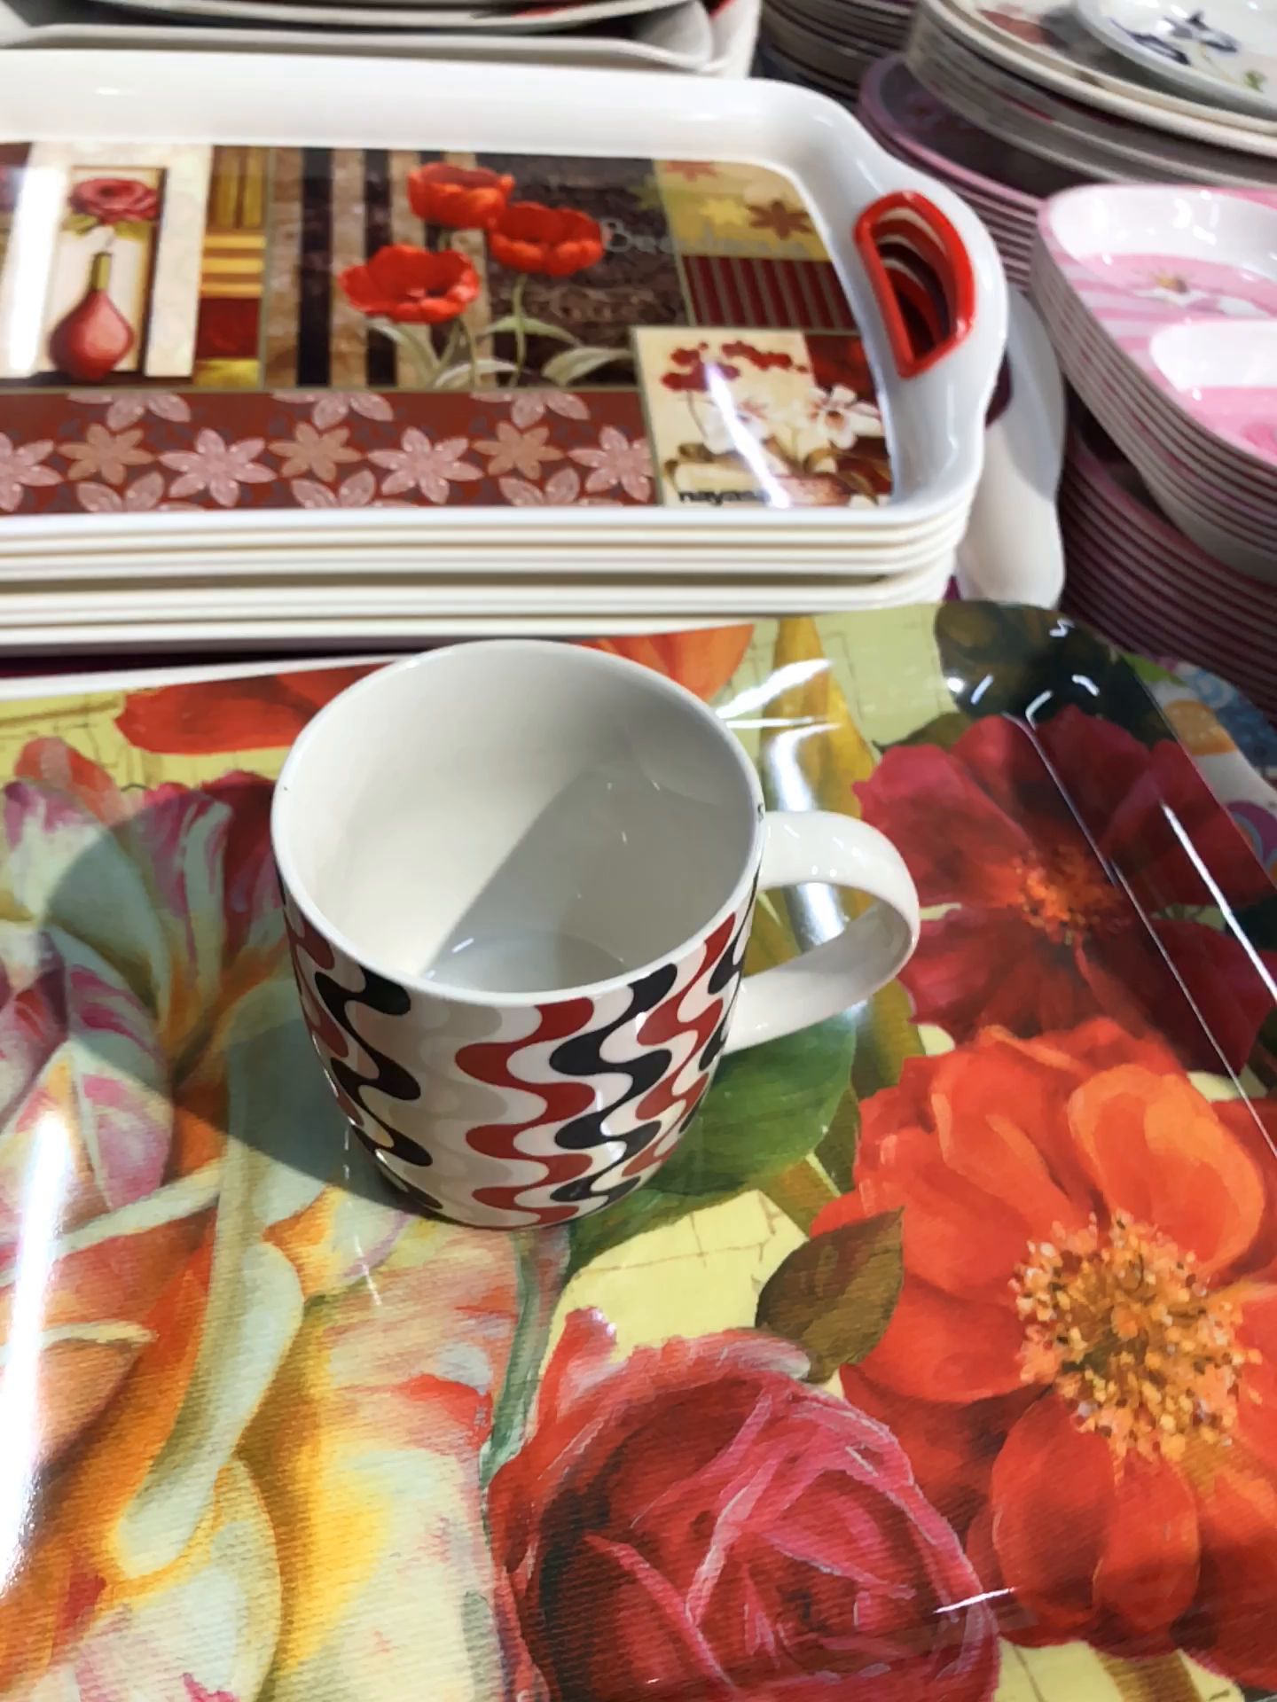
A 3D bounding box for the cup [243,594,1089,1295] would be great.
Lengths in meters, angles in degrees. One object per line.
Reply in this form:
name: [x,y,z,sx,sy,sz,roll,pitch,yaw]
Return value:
cup: [-0.003,0.014,0.275,0.130,0.079,0.090,-6,47,-12]
